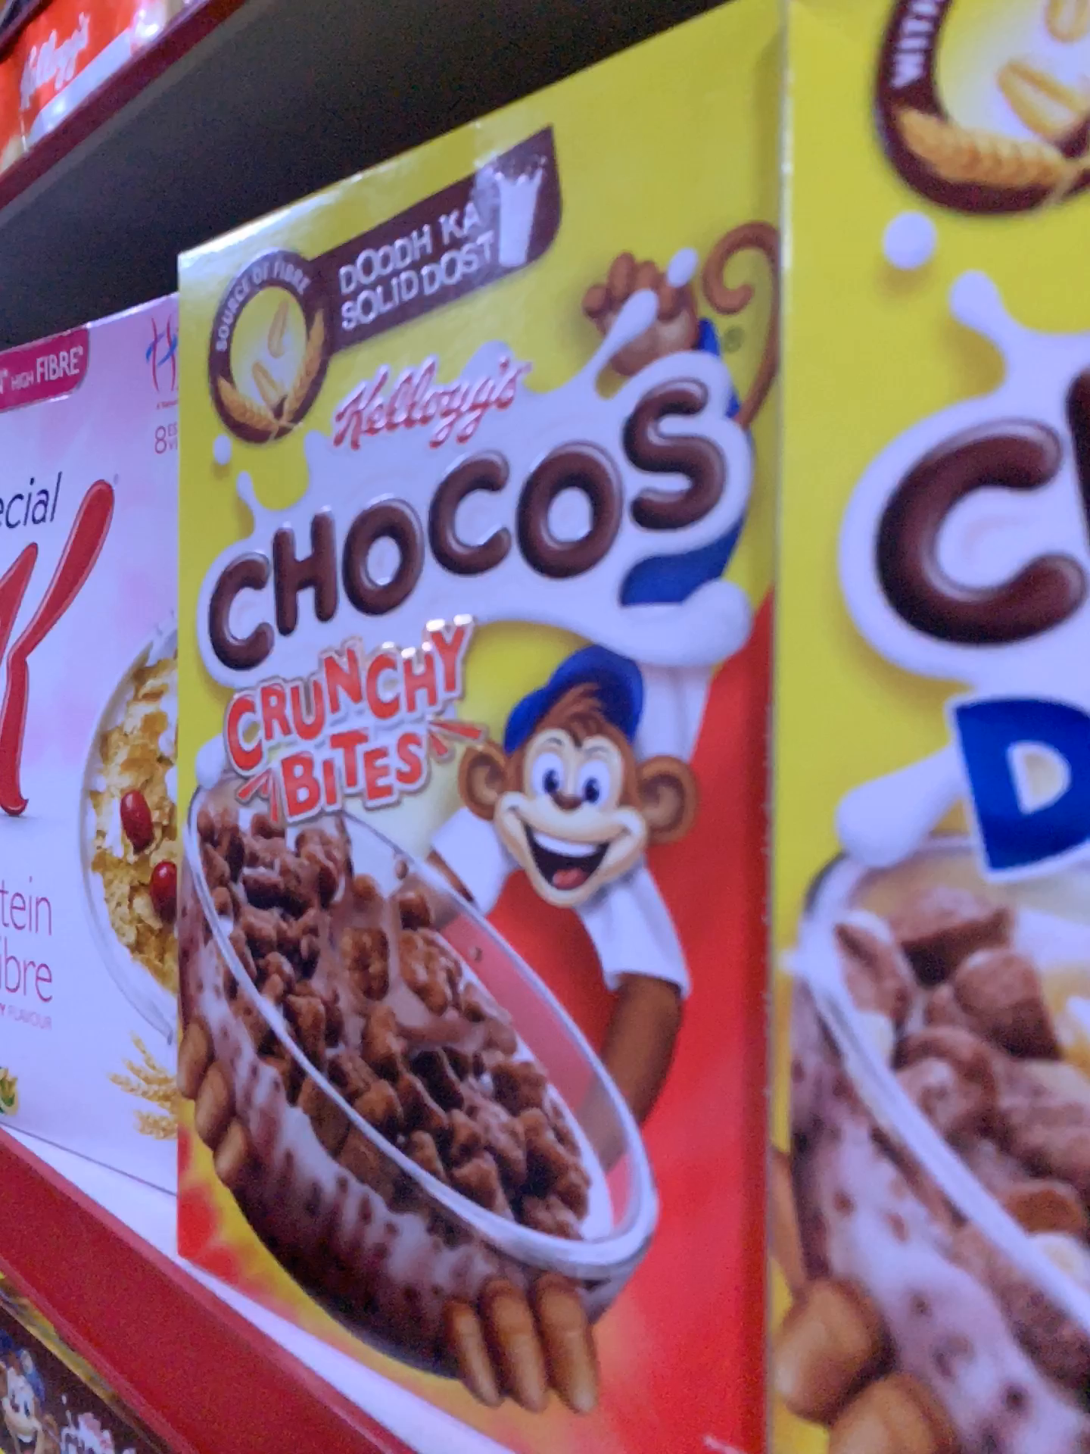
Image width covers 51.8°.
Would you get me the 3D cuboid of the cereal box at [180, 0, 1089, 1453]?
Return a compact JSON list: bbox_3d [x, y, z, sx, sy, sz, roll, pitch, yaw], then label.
[{"bbox_3d":[0.011,0.005,0.250,0.190,0.260,0.080,1,0,38],"label":"cereal box"}]
